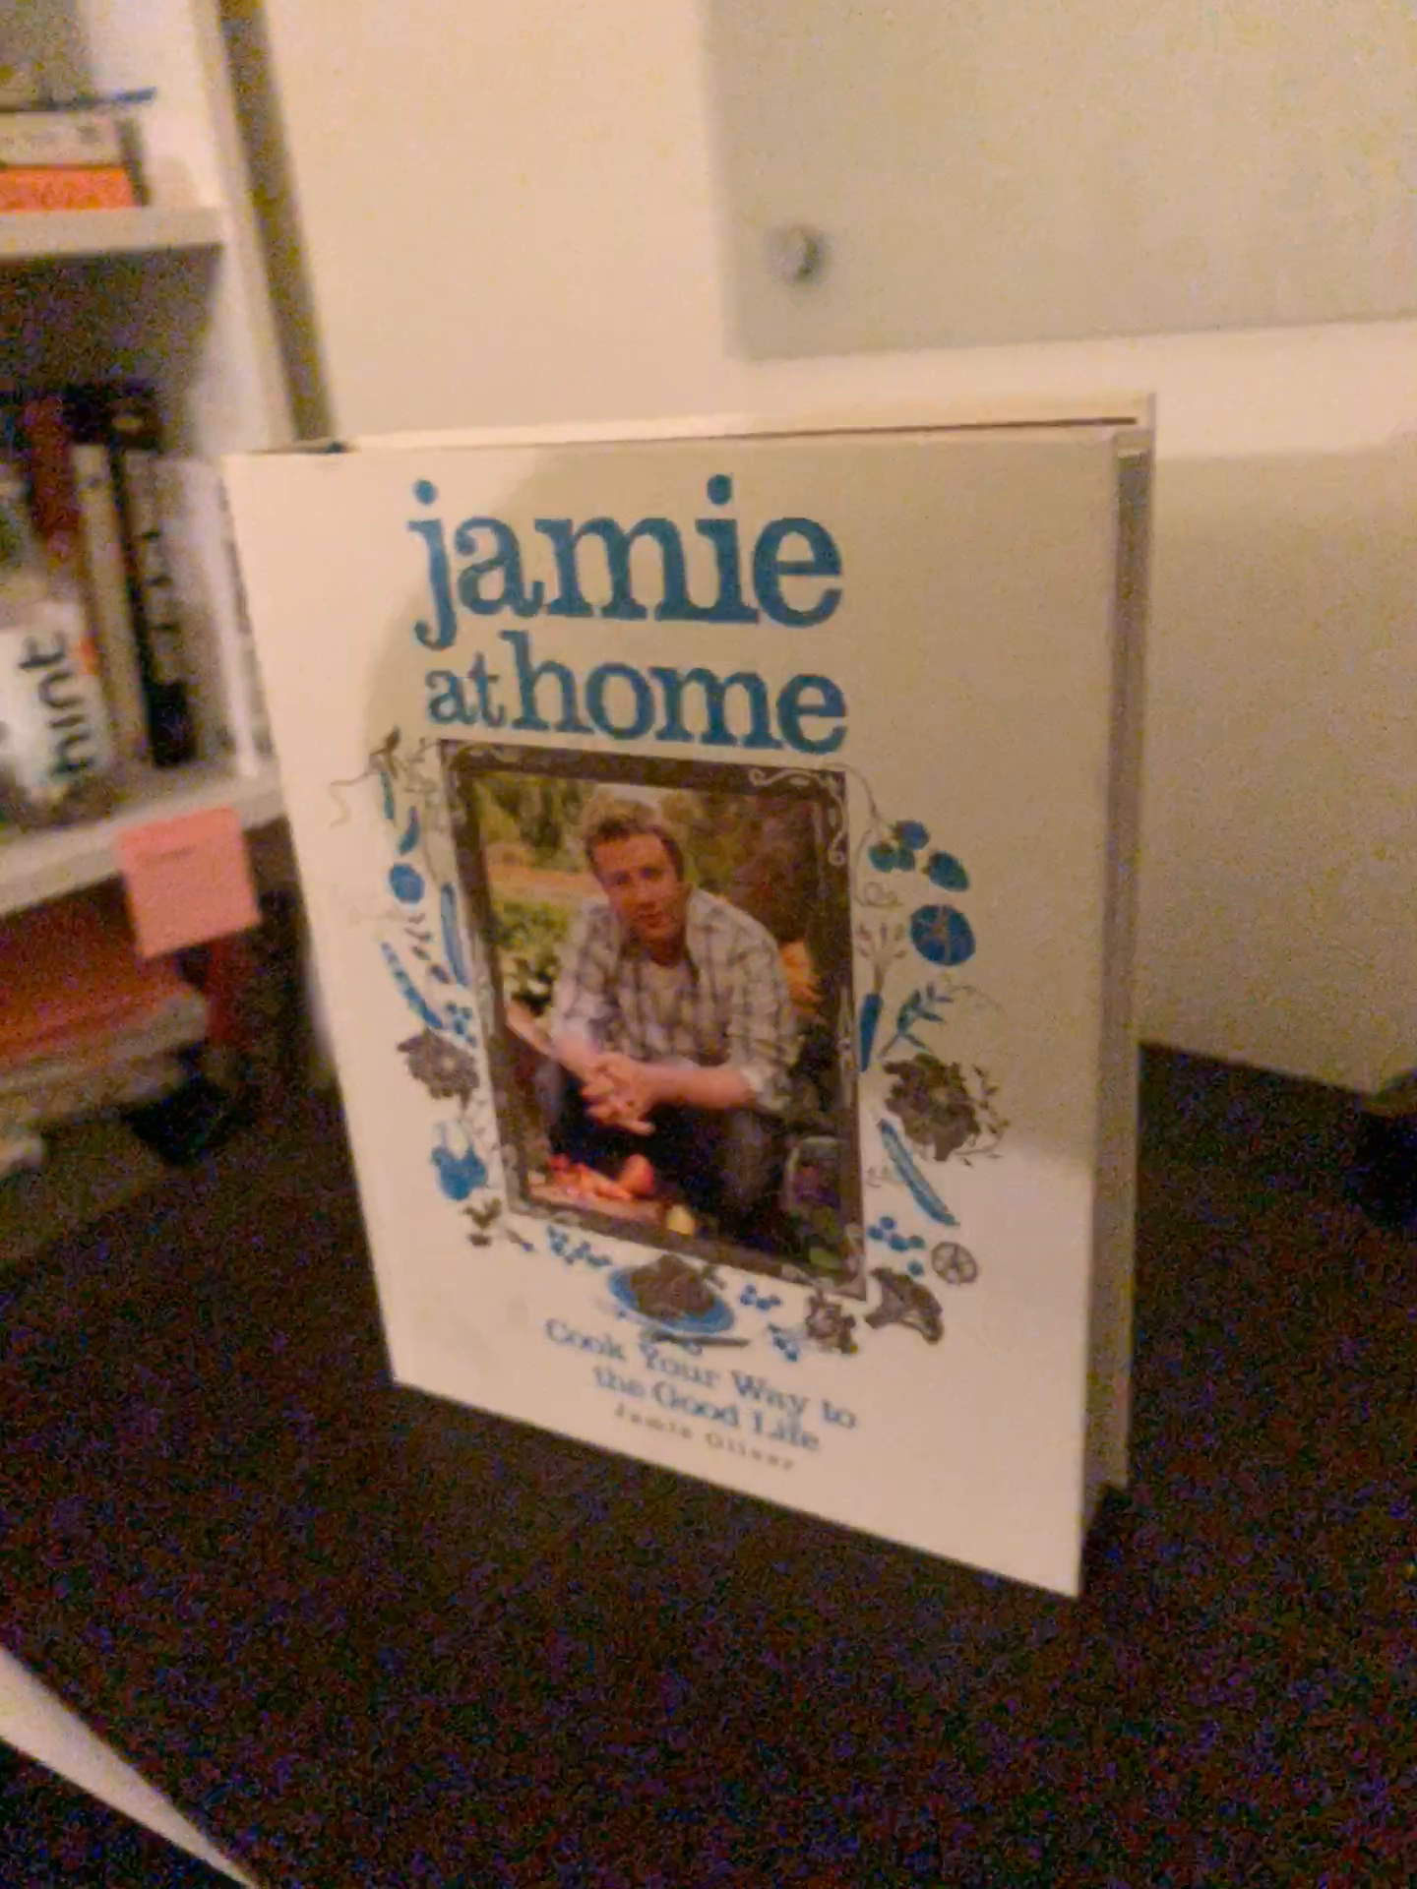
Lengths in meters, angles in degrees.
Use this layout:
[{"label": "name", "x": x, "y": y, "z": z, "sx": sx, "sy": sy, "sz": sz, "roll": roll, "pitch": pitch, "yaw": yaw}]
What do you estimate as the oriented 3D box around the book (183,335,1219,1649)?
[{"label": "book", "x": 0.000, "y": 0.011, "z": 0.348, "sx": 0.211, "sy": 0.269, "sz": 0.050, "roll": 8, "pitch": 26, "yaw": 29}]
